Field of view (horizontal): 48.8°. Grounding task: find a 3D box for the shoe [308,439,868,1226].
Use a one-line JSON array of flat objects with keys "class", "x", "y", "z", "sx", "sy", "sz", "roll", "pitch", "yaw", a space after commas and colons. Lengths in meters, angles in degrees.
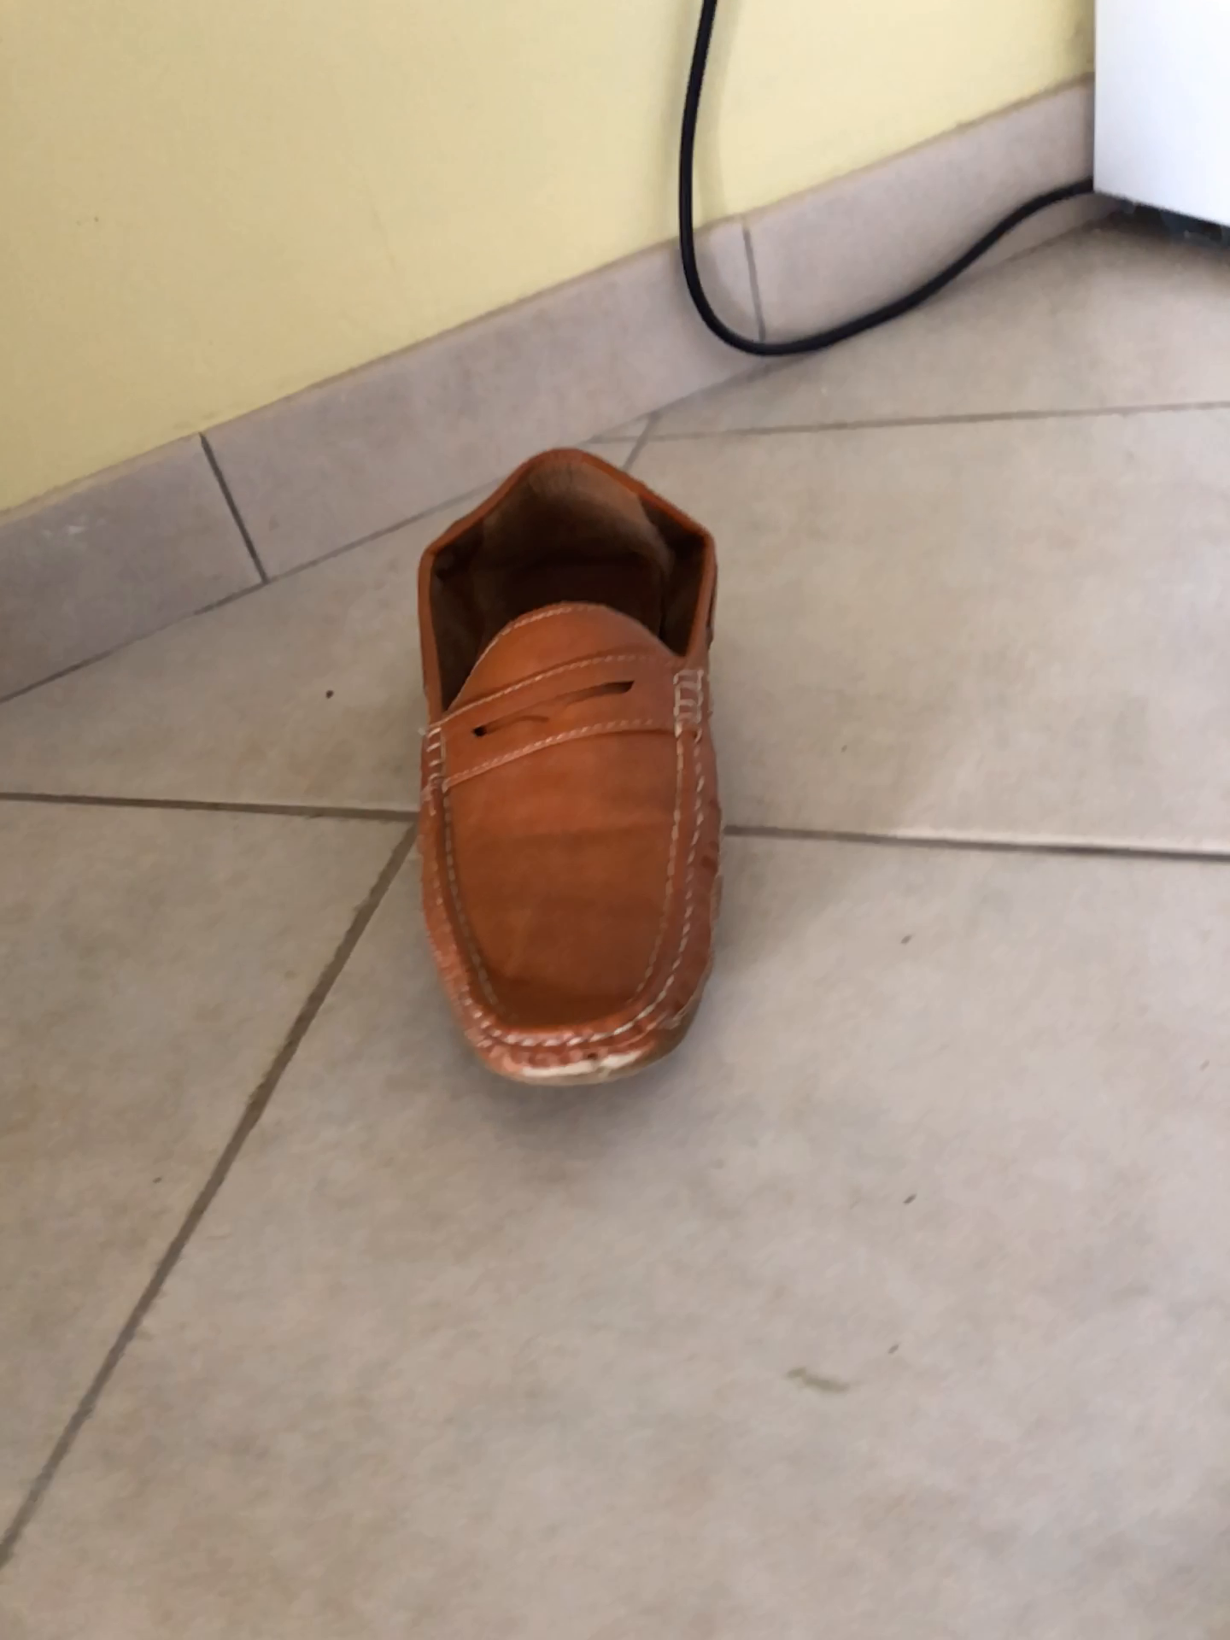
[{"class": "shoe", "x": -0.017, "y": -0.020, "z": 0.450, "sx": 0.130, "sy": 0.070, "sz": 0.282, "roll": -12, "pitch": 40, "yaw": 3}]
